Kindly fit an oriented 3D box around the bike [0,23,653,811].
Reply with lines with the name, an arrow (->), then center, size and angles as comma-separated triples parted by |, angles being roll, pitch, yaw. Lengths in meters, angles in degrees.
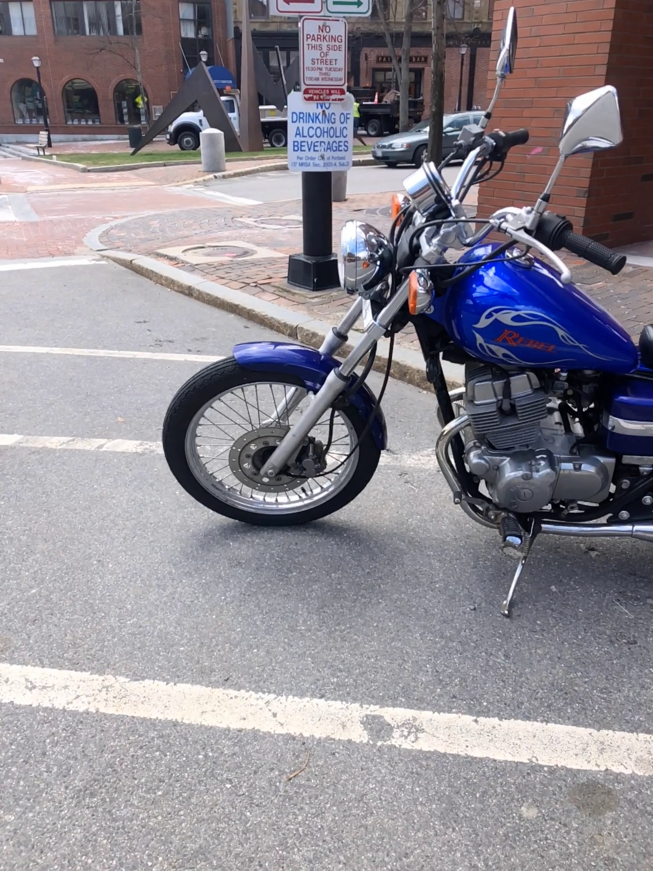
bike -> 0.596, -0.072, 1.540 | 2.024, 1.179, 0.930 | 4, 24, 0
